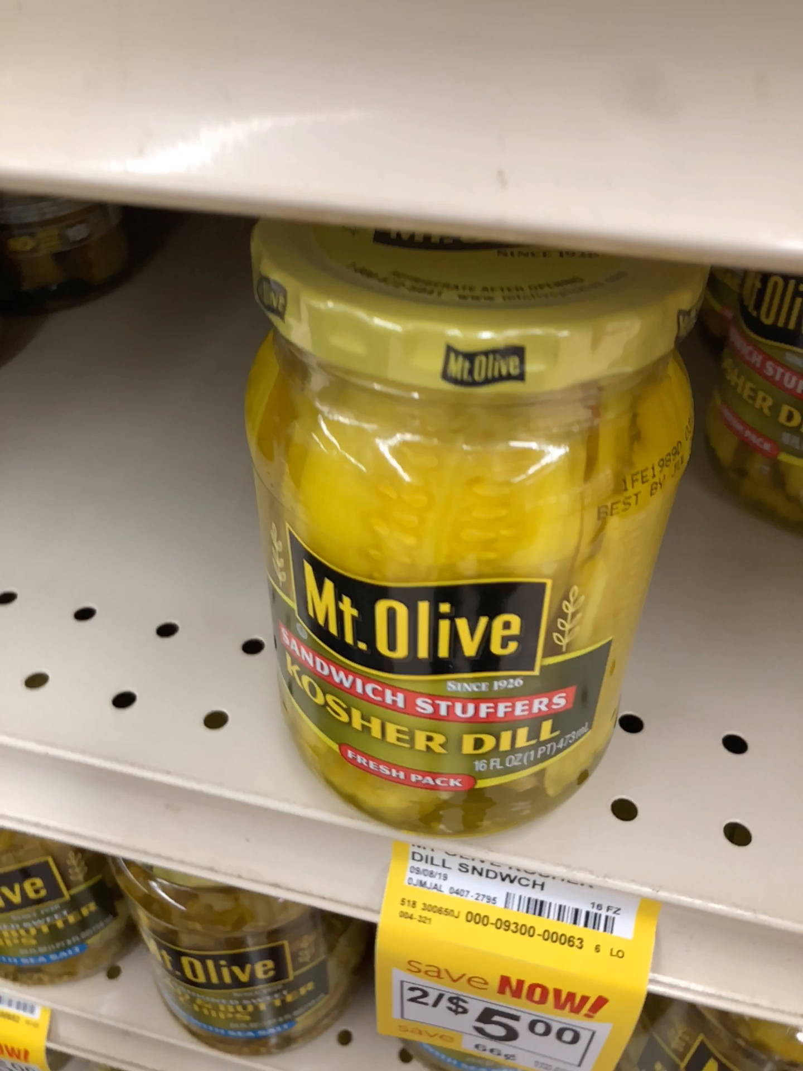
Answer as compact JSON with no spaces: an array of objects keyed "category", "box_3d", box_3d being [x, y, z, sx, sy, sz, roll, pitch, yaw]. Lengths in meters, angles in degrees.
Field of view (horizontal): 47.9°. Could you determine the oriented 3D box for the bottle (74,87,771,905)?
[{"category":"bottle","box_3d":[0.010,-0.006,0.185,0.090,0.130,0.080,13,43,13]}]
